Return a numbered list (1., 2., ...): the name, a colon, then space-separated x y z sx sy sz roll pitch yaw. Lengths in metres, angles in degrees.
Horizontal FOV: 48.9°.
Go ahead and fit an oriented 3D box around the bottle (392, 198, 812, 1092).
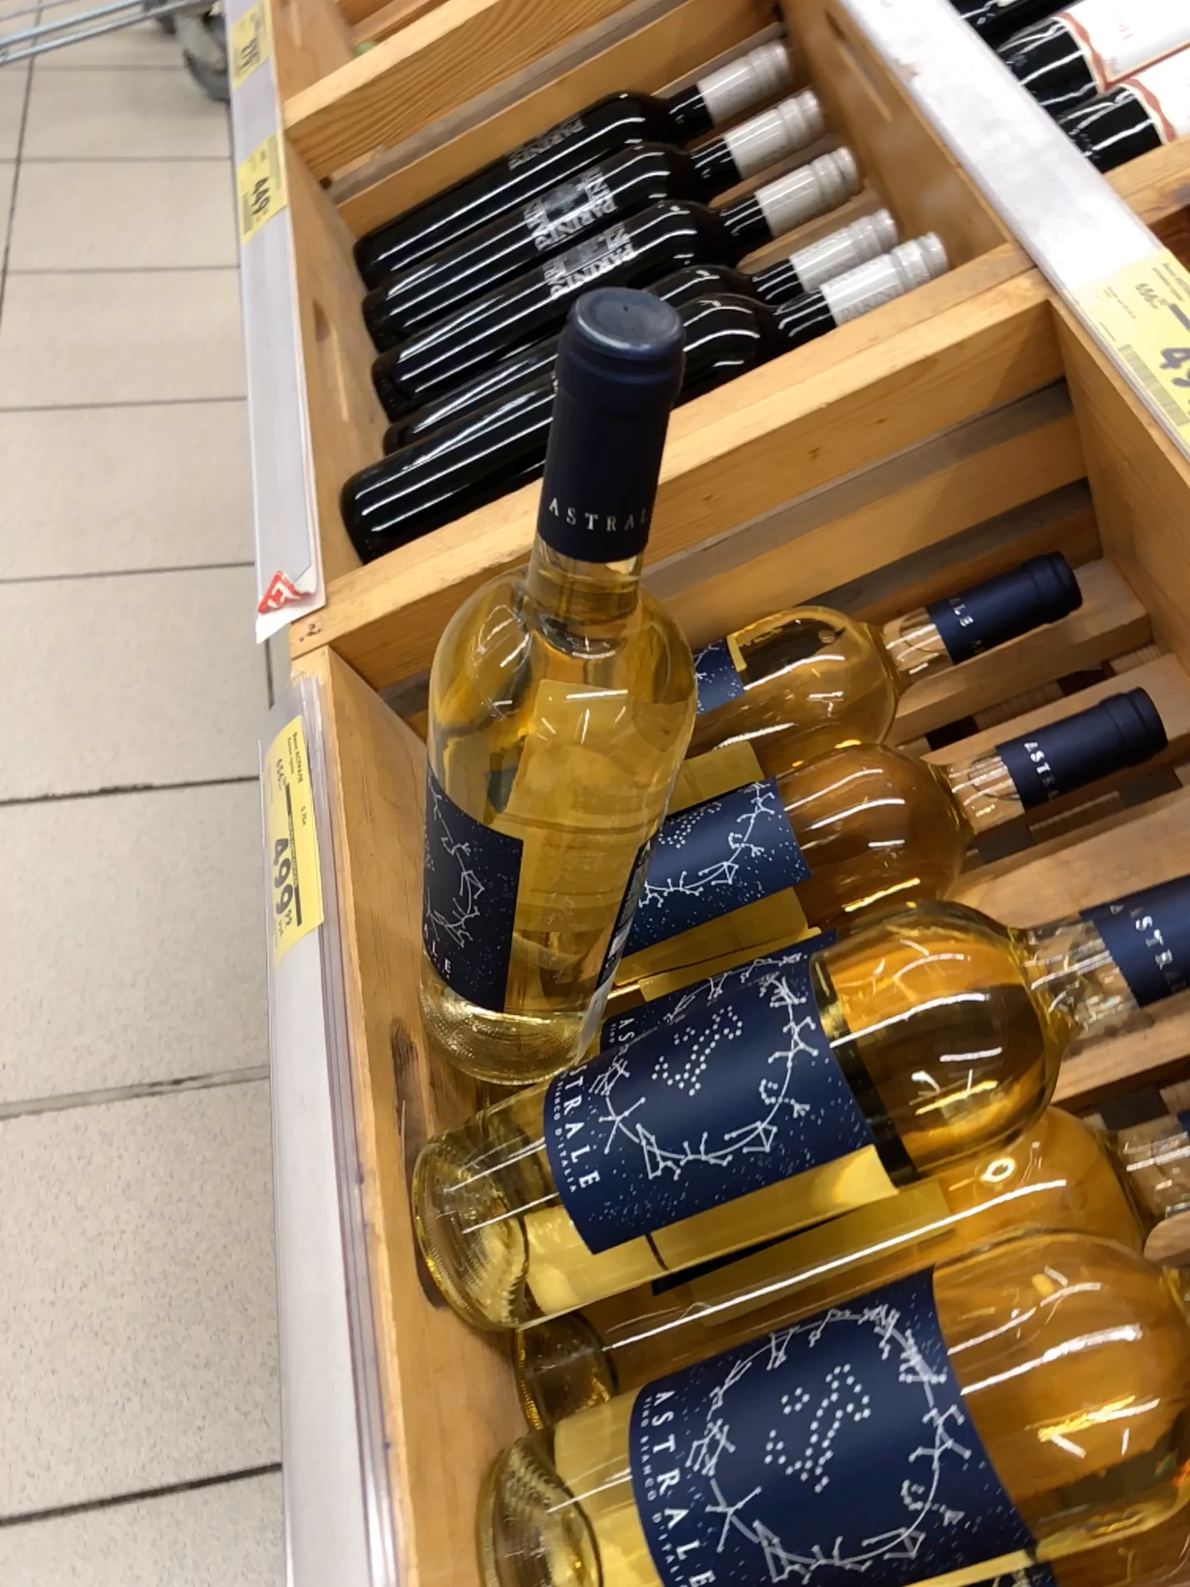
1. bottle: -0.016 -0.016 0.392 0.080 0.279 0.090 3 51 -7
